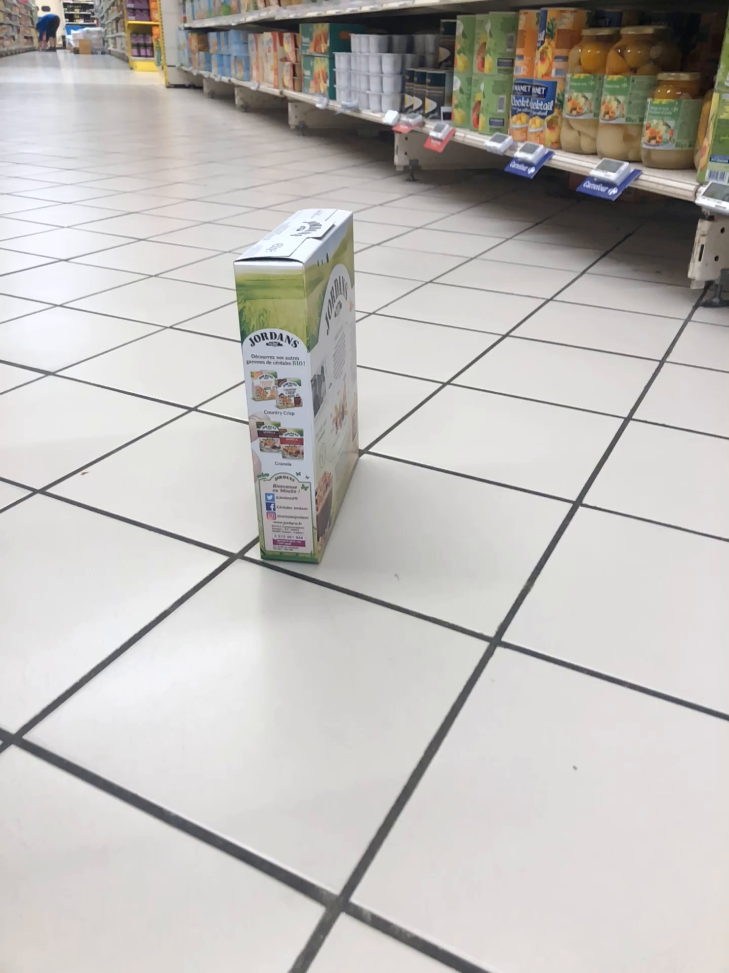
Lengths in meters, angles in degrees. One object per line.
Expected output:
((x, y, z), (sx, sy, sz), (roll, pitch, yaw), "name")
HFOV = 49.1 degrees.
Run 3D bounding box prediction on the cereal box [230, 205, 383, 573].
((-0.031, -0.082, 0.600), (0.060, 0.219, 0.191), (2, 27, 9), "cereal box")
